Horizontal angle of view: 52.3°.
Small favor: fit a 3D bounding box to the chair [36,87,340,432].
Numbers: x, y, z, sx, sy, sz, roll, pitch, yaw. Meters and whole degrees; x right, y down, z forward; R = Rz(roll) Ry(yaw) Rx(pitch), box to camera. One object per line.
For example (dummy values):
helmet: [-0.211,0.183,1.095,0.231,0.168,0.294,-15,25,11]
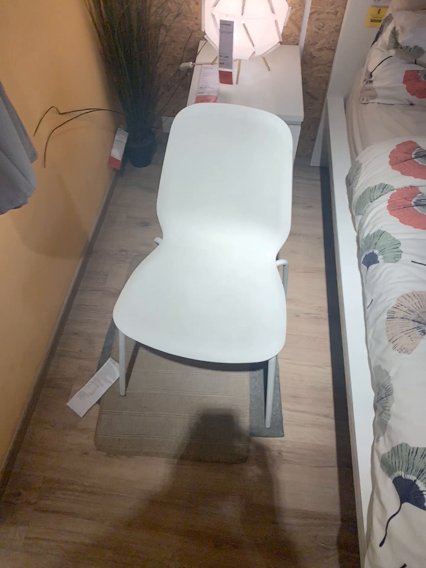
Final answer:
chair: [-0.011,-0.024,1.245,0.540,0.758,0.562,10,55,7]
